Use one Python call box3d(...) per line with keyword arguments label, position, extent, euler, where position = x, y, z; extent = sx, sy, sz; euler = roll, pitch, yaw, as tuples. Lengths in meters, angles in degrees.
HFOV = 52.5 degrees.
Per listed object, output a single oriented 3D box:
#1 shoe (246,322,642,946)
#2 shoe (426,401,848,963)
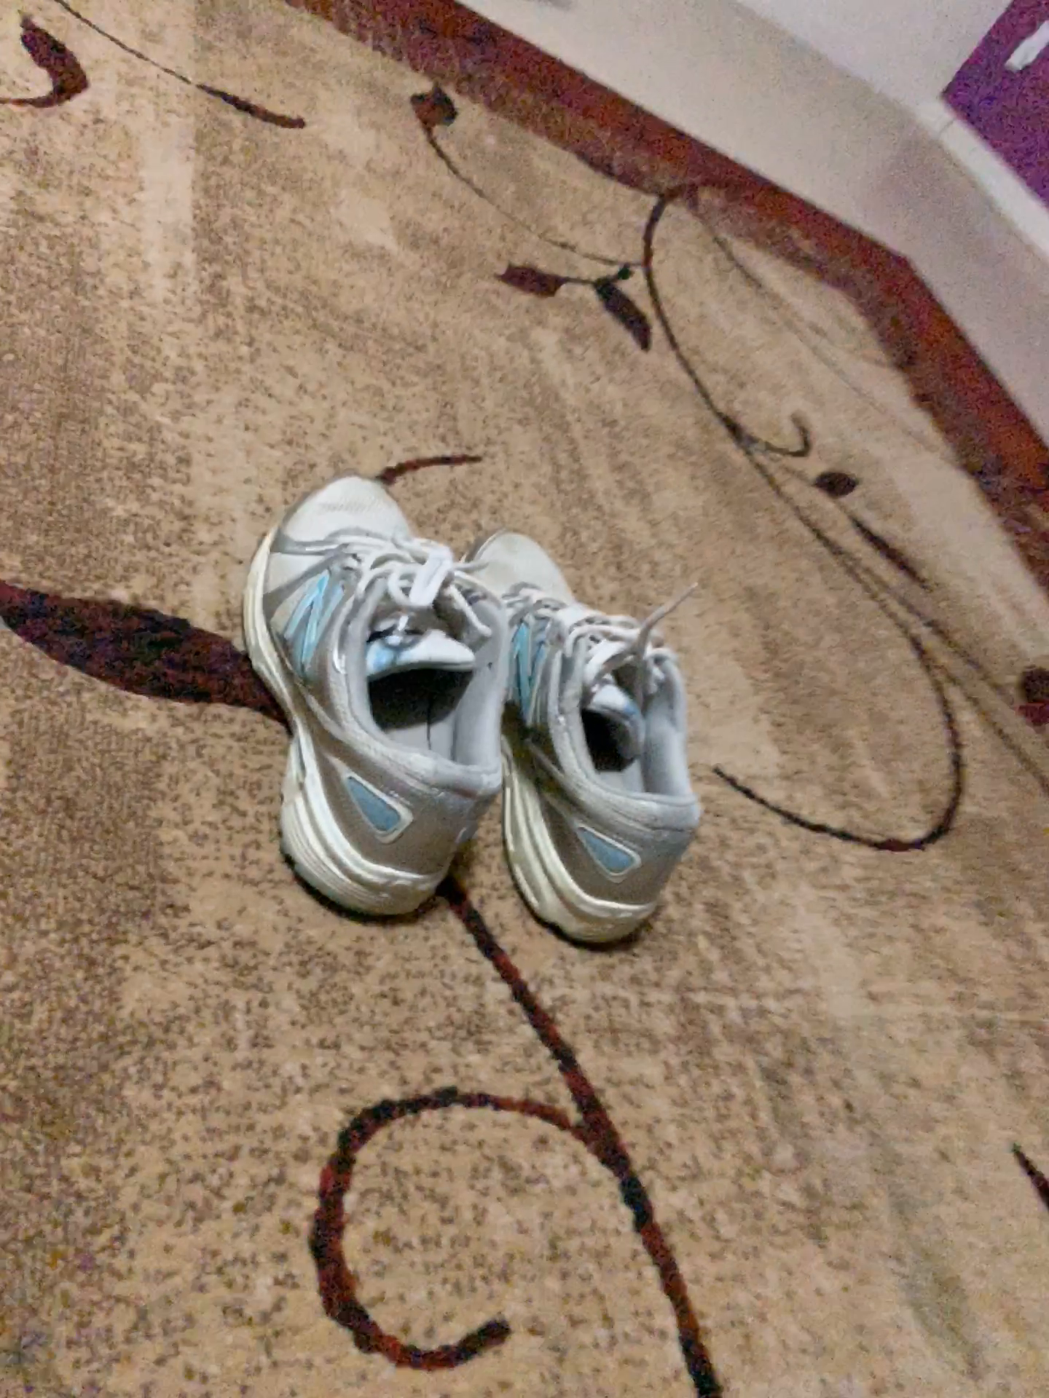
box3d(label="shoe", position=(-0.058, -0.038, 0.532), extent=(0.111, 0.124, 0.284), euler=(11, 46, -31))
box3d(label="shoe", position=(0.044, -0.014, 0.589), extent=(0.104, 0.124, 0.284), euler=(10, 47, -32))
